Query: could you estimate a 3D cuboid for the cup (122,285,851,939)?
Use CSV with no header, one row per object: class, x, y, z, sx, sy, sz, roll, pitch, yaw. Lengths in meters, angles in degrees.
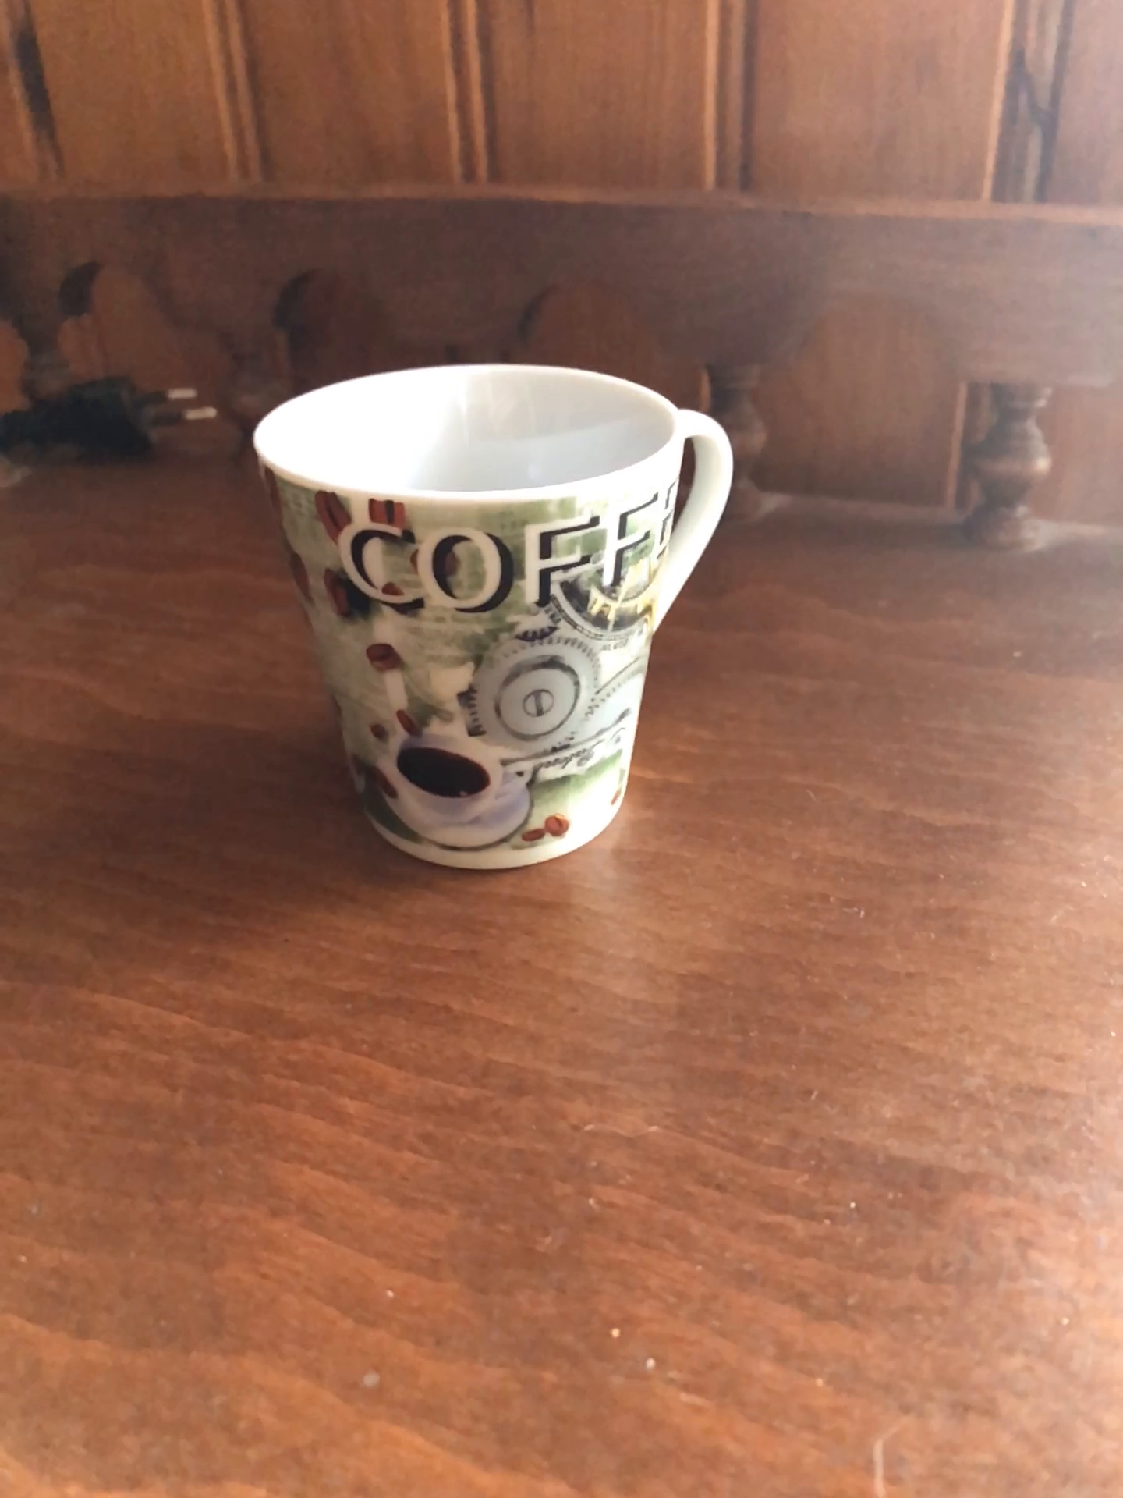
cup,-0.008,-0.027,0.188,0.080,0.060,0.060,-27,39,-34
